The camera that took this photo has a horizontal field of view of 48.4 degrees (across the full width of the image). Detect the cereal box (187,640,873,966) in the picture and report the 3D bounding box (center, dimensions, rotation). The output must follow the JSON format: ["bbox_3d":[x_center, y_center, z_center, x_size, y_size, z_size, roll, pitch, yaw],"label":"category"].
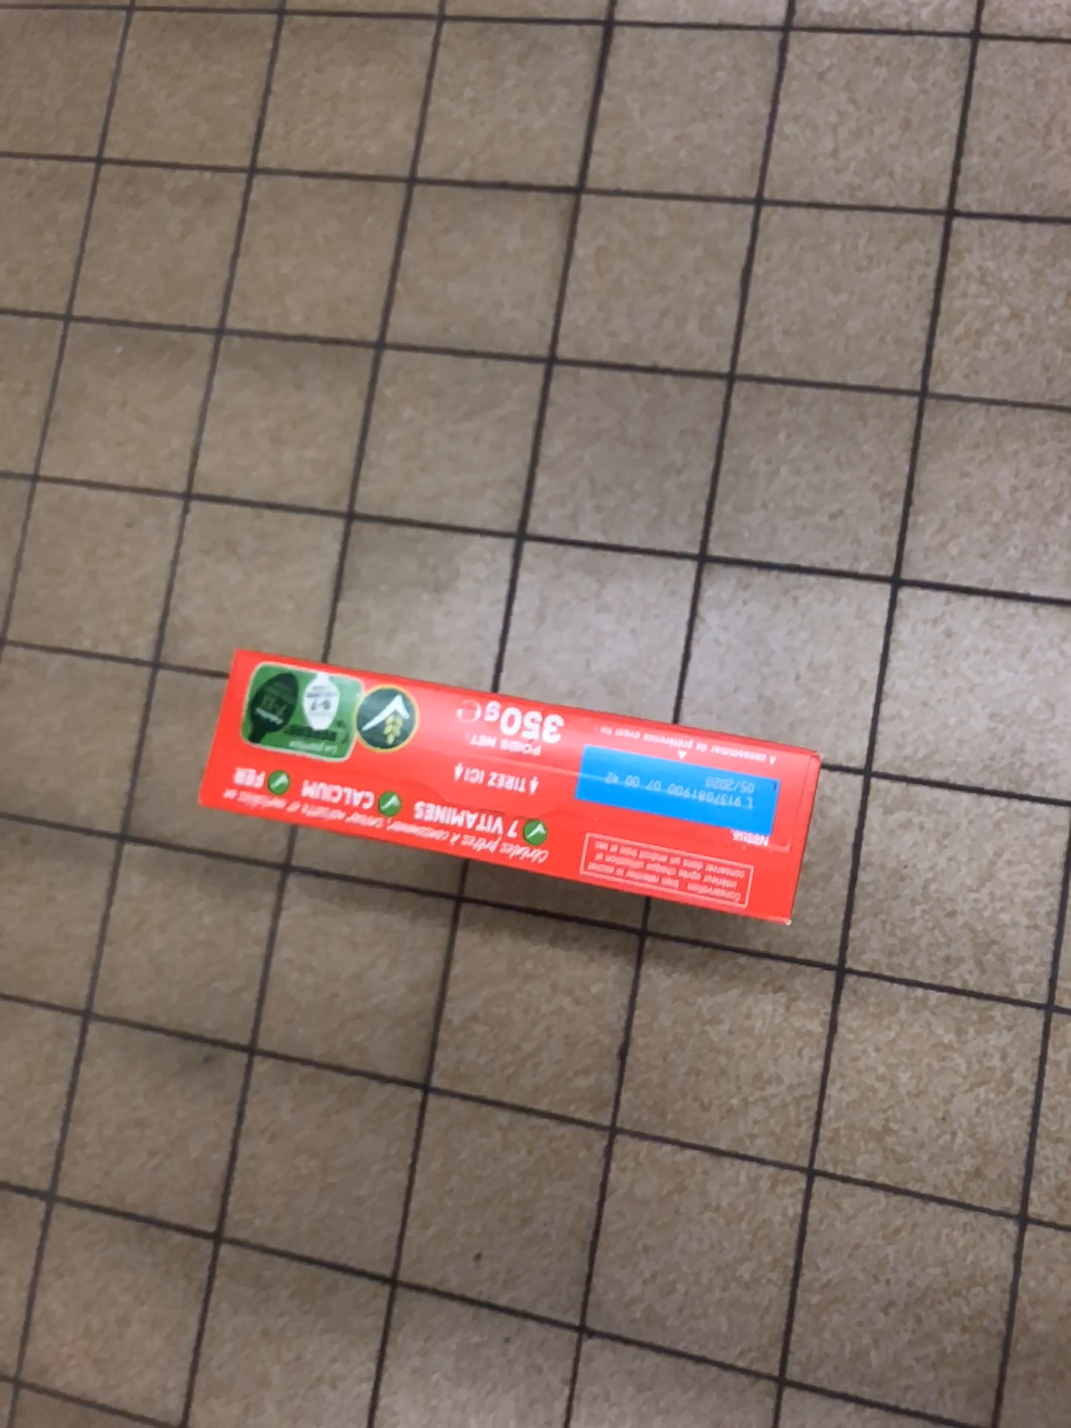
[{"bbox_3d":[0.019,0.039,0.491,0.200,0.280,0.060,10,86,12],"label":"cereal box"}]
